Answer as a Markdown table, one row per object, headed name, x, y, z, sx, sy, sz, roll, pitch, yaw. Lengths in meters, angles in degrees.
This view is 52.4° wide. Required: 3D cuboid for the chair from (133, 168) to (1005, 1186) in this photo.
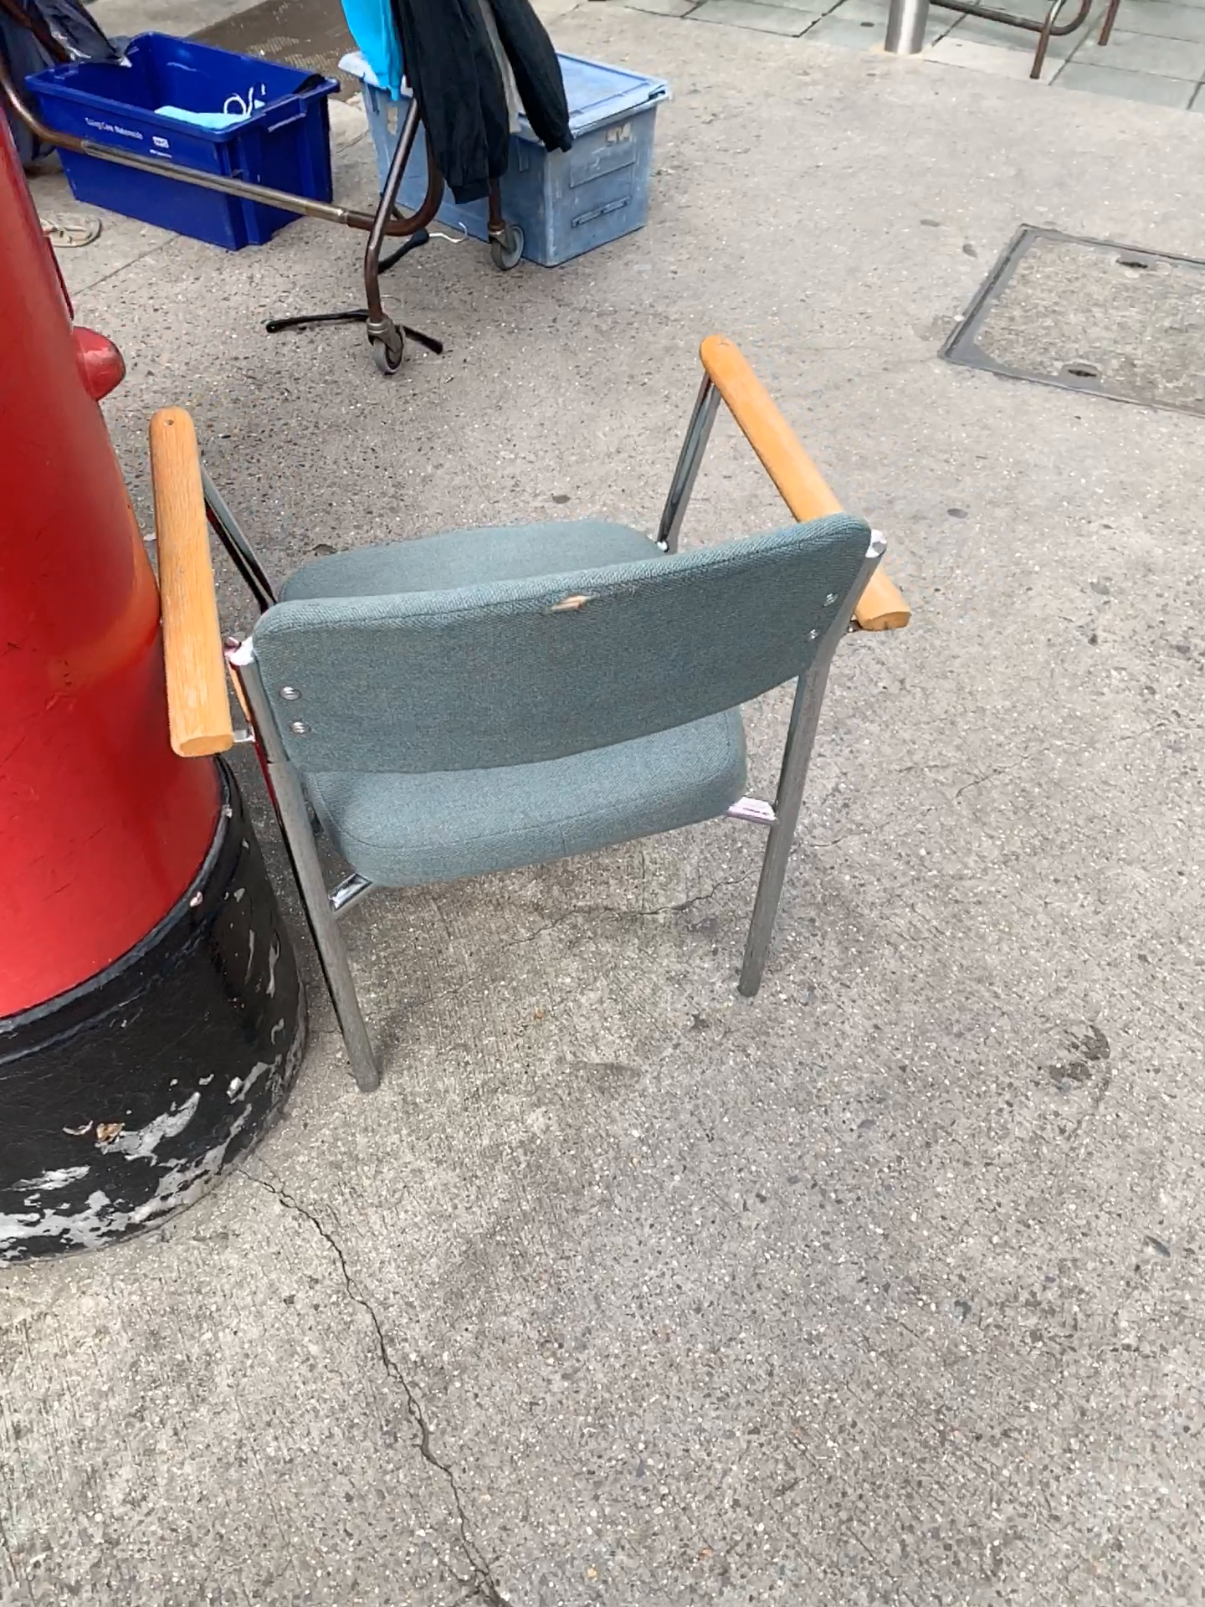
| name | x | y | z | sx | sy | sz | roll | pitch | yaw |
| --- | --- | --- | --- | --- | --- | --- | --- | --- | --- |
| chair | -0.074 | -0.115 | 1.237 | 0.557 | 0.740 | 0.575 | -12 | 48 | -11 |
